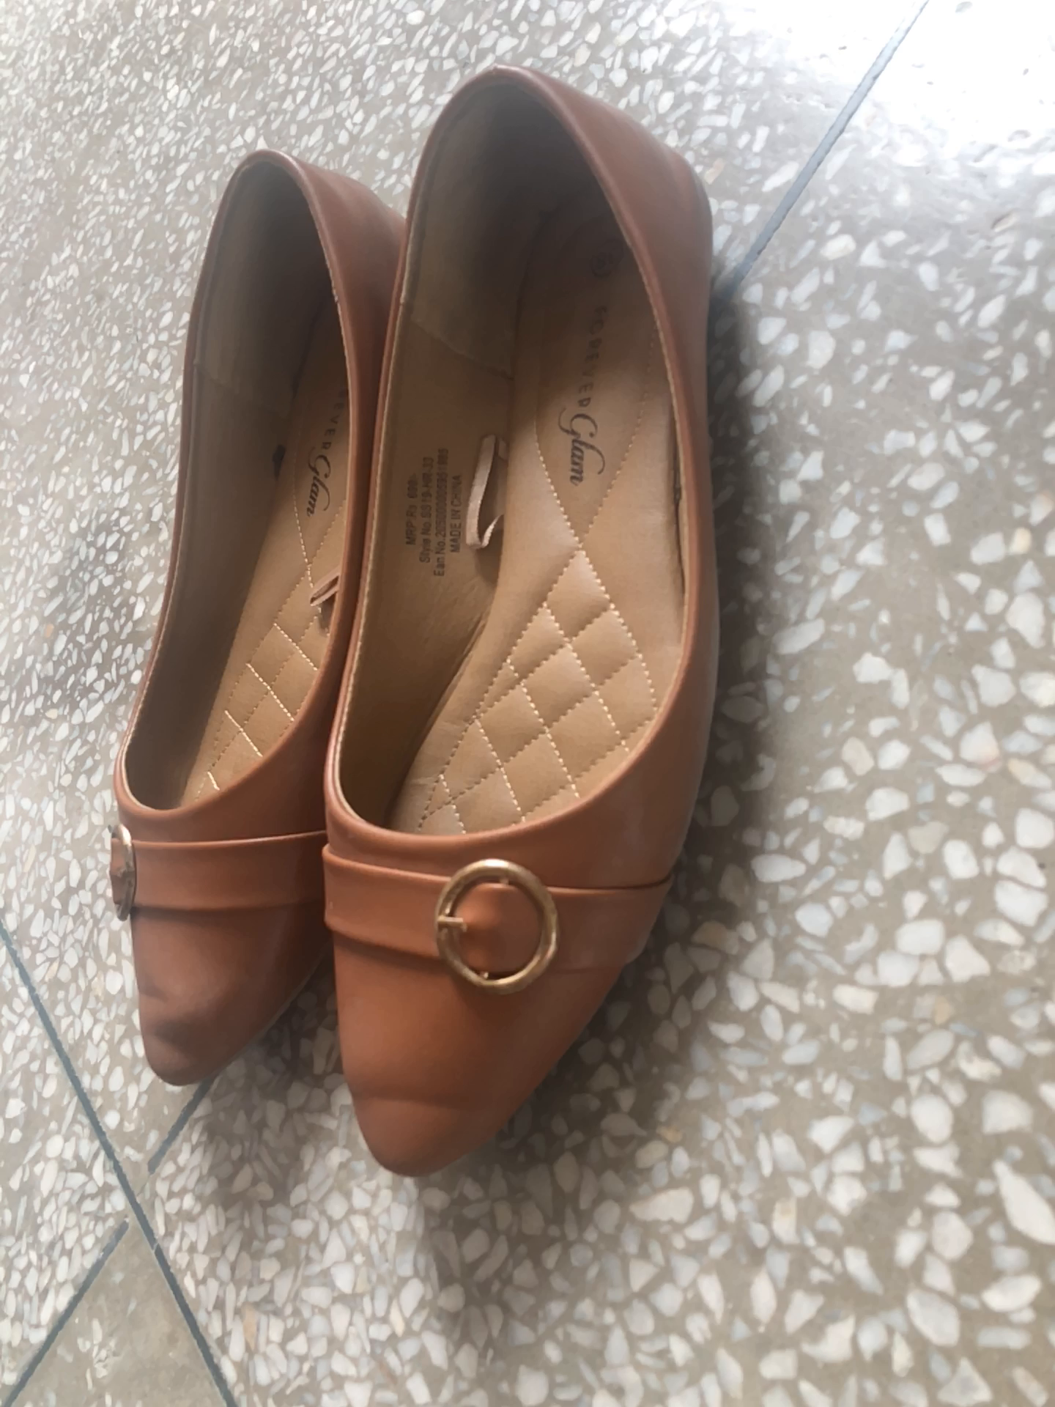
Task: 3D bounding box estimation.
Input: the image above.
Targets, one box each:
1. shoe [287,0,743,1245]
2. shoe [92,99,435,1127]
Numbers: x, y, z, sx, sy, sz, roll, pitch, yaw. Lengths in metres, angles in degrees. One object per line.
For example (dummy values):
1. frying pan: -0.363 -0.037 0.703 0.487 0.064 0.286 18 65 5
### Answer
1. shoe: -0.006 -0.025 0.266 0.091 0.050 0.250 -5 83 44
2. shoe: -0.075 -0.022 0.331 0.091 0.050 0.250 -5 83 44
